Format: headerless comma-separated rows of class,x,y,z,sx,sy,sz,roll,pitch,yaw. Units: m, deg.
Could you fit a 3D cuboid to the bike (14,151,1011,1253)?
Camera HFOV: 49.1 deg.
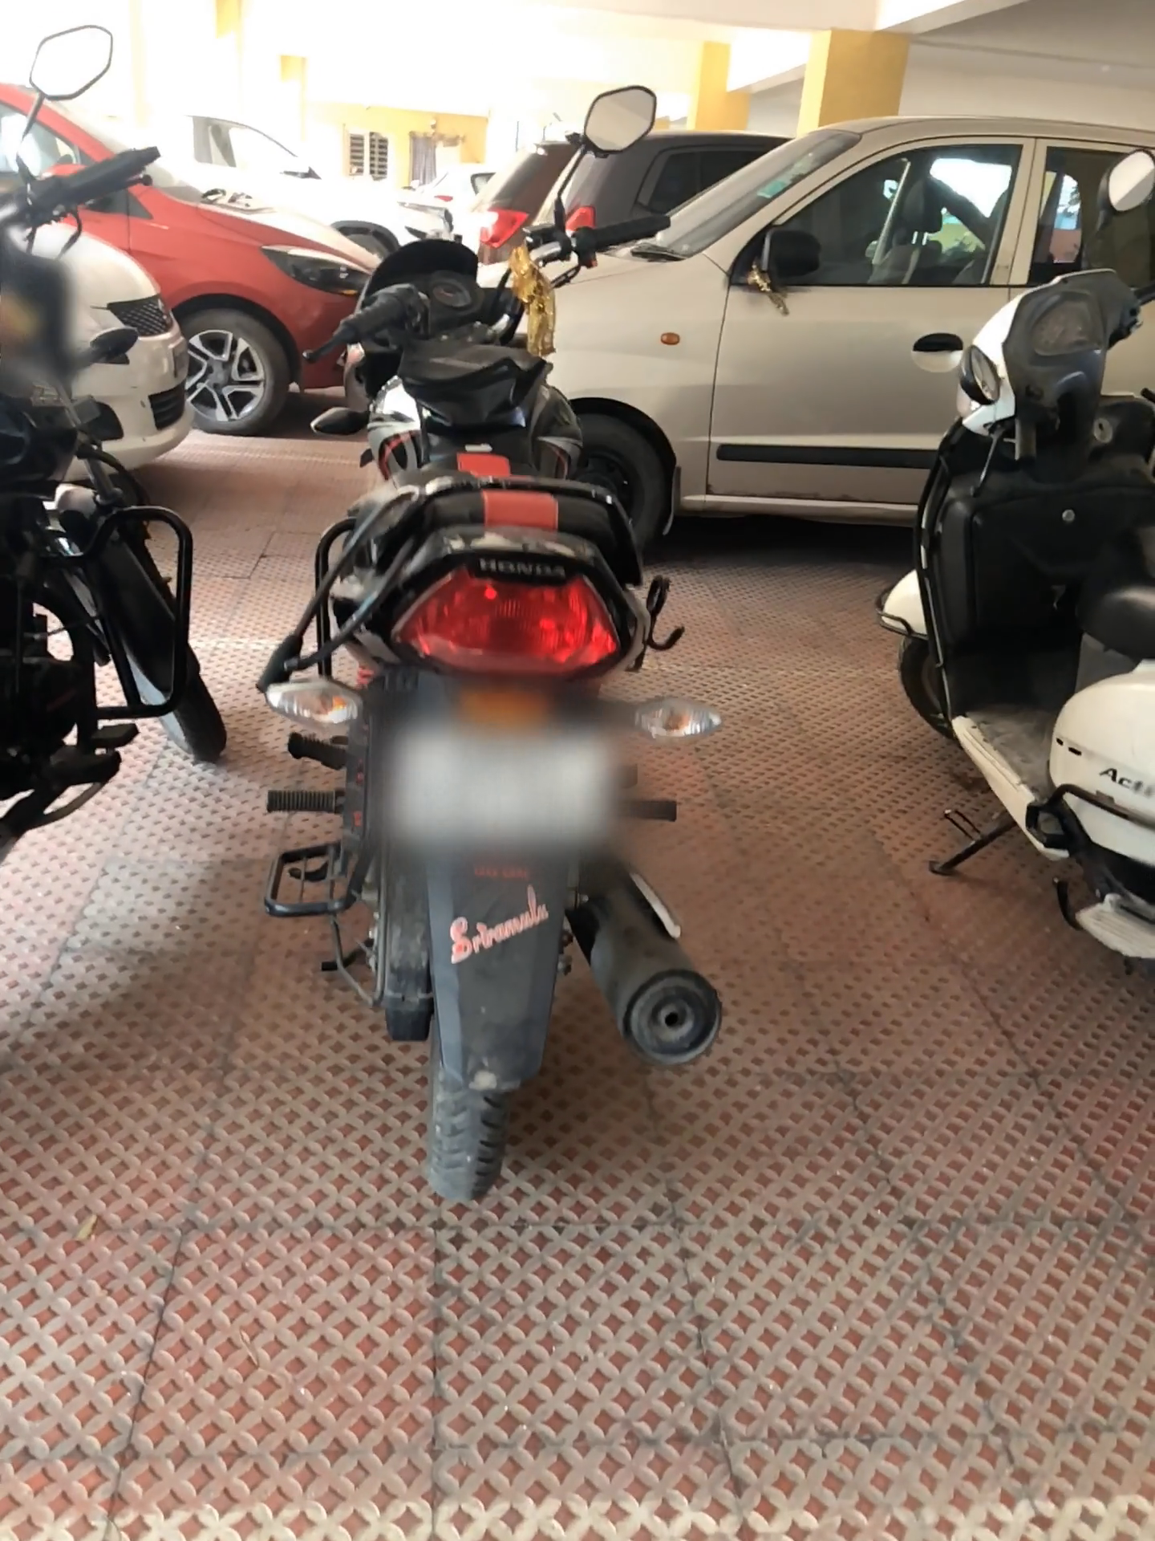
bike,-0.279,-0.295,1.825,0.746,1.010,1.561,-2,25,-15
